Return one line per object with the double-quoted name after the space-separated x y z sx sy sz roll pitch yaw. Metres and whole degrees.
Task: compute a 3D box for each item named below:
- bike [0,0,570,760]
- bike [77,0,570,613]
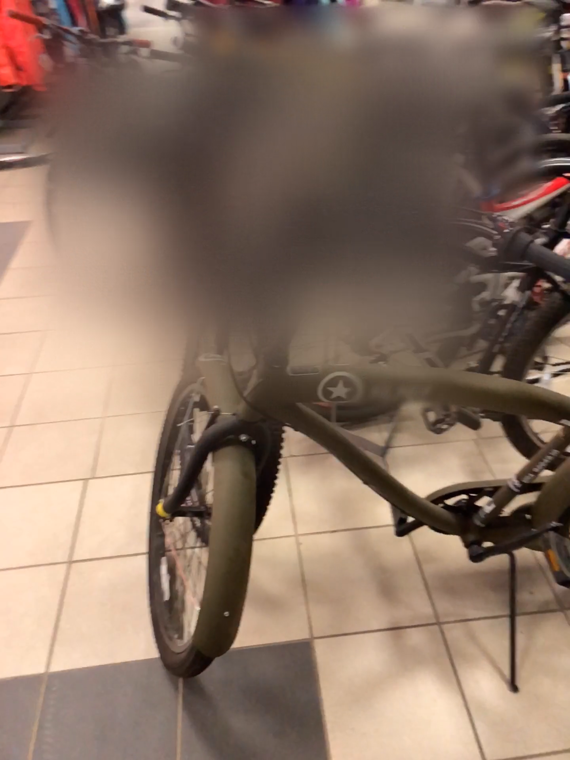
0.452 -0.047 1.162 1.495 1.130 0.837 8 37 7 "bike"
0.218 -0.268 1.462 0.973 1.227 0.668 8 37 1 "bike"
